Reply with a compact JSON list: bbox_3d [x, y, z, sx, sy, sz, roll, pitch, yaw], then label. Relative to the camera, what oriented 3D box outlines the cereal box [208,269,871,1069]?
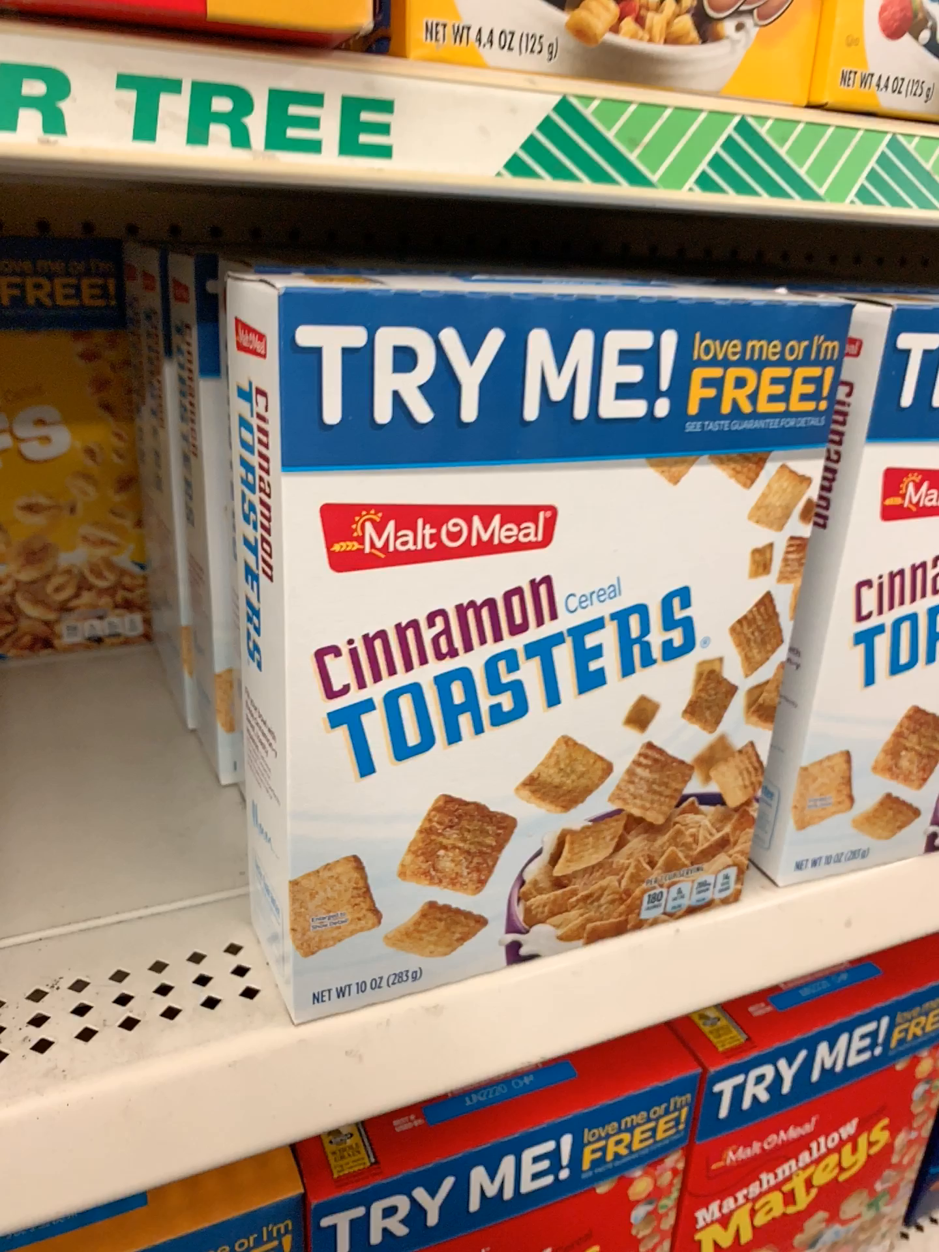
[{"bbox_3d":[0.016,0.010,0.293,0.170,0.209,0.050,-7,25,-25],"label":"cereal box"}]
